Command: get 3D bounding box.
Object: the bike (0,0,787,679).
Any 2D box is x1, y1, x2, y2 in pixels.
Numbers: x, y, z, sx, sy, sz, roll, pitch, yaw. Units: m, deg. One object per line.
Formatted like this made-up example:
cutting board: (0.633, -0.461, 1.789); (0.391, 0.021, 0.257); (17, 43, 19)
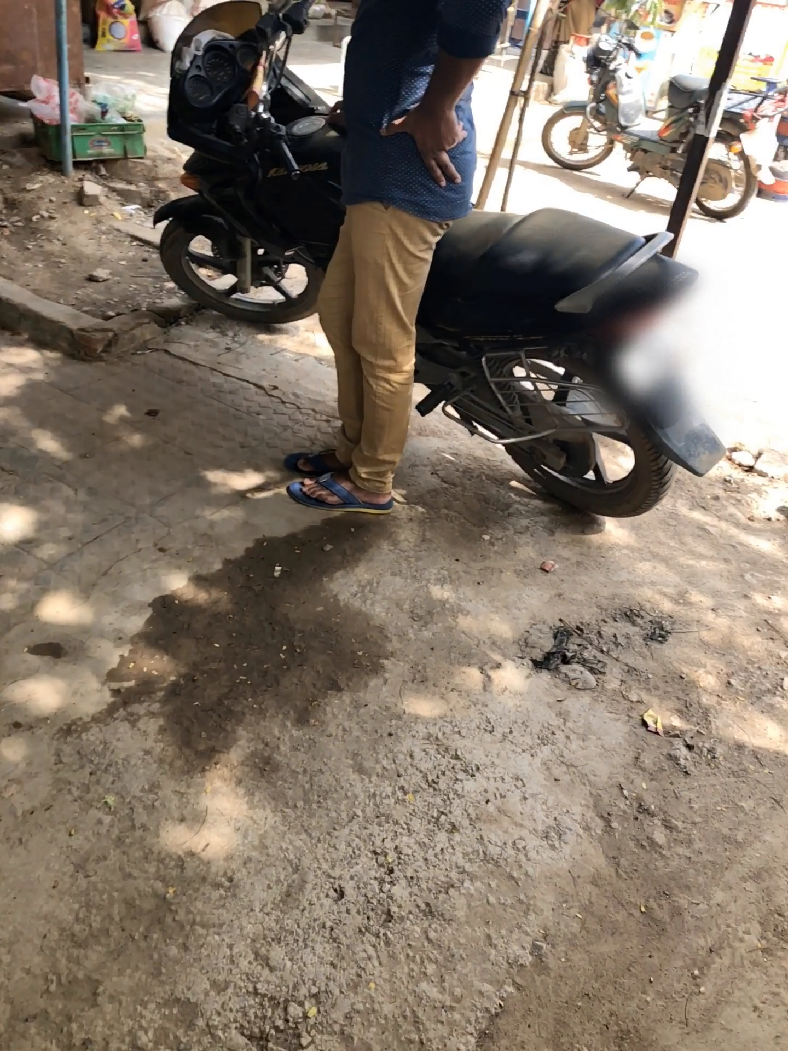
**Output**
bike: (-0.237, -0.730, 2.193); (1.891, 1.176, 0.802); (31, 40, 26)
